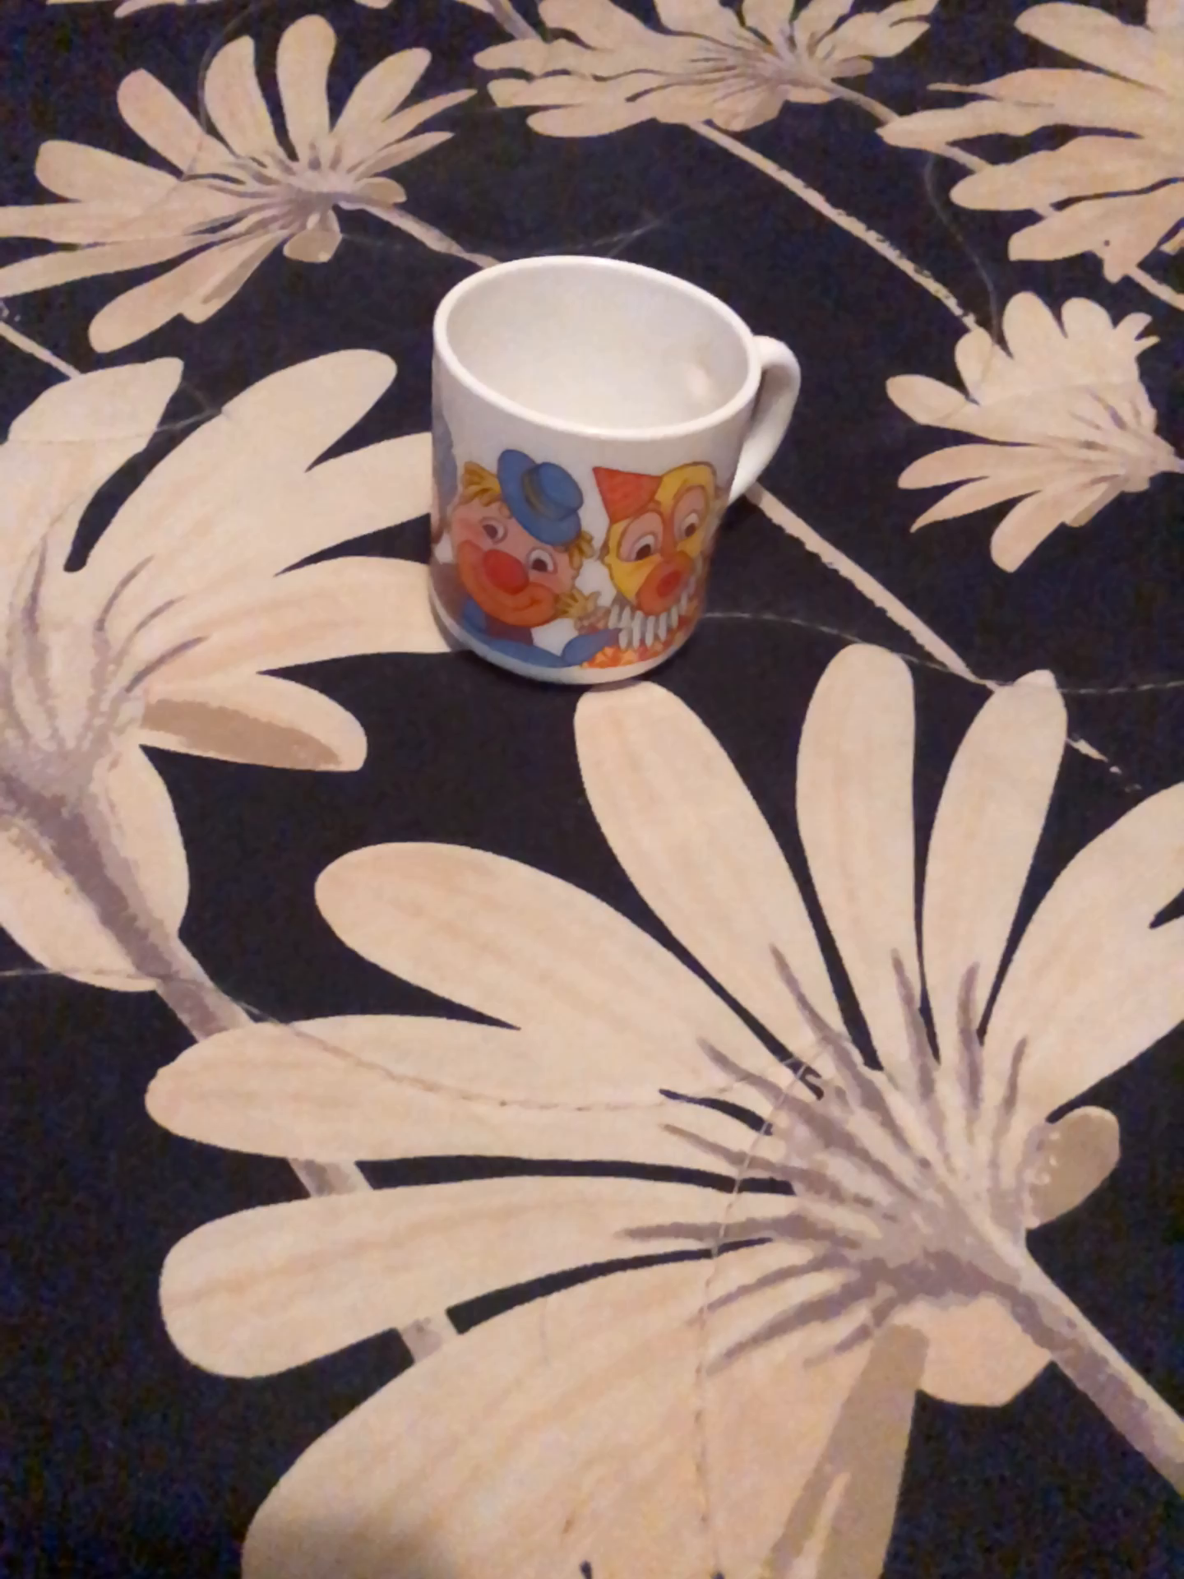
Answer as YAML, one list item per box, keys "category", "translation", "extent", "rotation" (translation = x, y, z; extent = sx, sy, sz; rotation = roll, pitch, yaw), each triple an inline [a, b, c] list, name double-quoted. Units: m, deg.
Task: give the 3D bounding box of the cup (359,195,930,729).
- category: "cup"
  translation: [0.010, -0.087, 0.339]
  extent: [0.108, 0.077, 0.085]
  rotation: [-20, 54, -18]
